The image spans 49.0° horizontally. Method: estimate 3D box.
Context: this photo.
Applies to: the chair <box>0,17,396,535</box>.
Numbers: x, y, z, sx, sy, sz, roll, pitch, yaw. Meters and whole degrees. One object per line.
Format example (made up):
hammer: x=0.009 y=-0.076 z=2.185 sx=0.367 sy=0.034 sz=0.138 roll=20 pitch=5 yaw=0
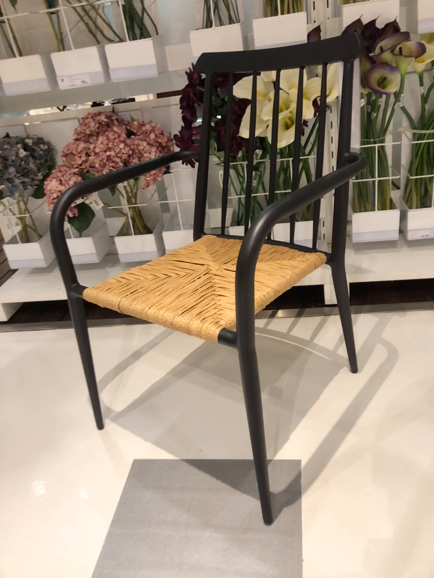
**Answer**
chair: x=-0.006 y=-0.082 z=1.014 sx=0.541 sy=0.754 sz=0.583 roll=14 pitch=36 yaw=37
